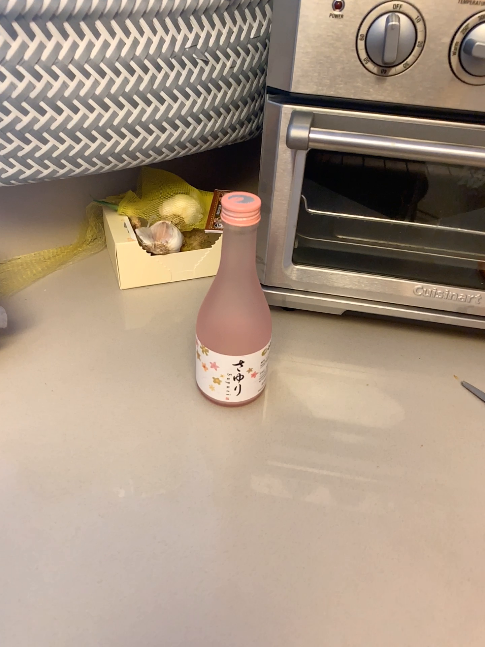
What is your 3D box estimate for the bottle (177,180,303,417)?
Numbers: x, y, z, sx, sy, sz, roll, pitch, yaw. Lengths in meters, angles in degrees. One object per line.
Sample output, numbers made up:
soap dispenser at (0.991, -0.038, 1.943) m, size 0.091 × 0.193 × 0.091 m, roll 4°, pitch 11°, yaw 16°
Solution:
bottle at (-0.003, -0.016, 0.403) m, size 0.070 × 0.169 × 0.070 m, roll 2°, pitch 37°, yaw -2°
